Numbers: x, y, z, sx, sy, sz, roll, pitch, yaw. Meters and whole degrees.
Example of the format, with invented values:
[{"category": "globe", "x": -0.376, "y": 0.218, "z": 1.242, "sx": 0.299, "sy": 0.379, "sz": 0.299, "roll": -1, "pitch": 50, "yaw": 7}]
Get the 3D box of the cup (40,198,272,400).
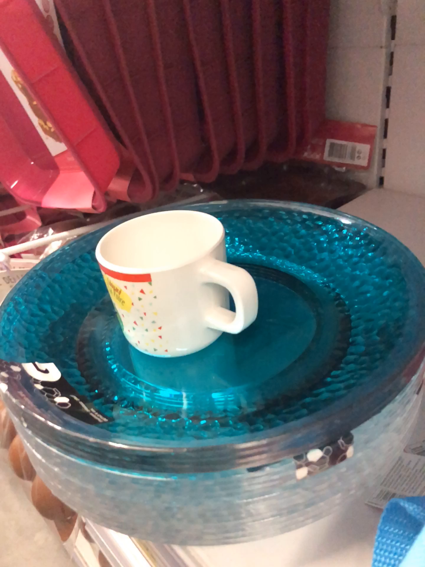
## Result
[{"category": "cup", "x": -0.031, "y": 0.001, "z": 0.274, "sx": 0.102, "sy": 0.059, "sz": 0.077, "roll": 21, "pitch": 44, "yaw": 38}]
